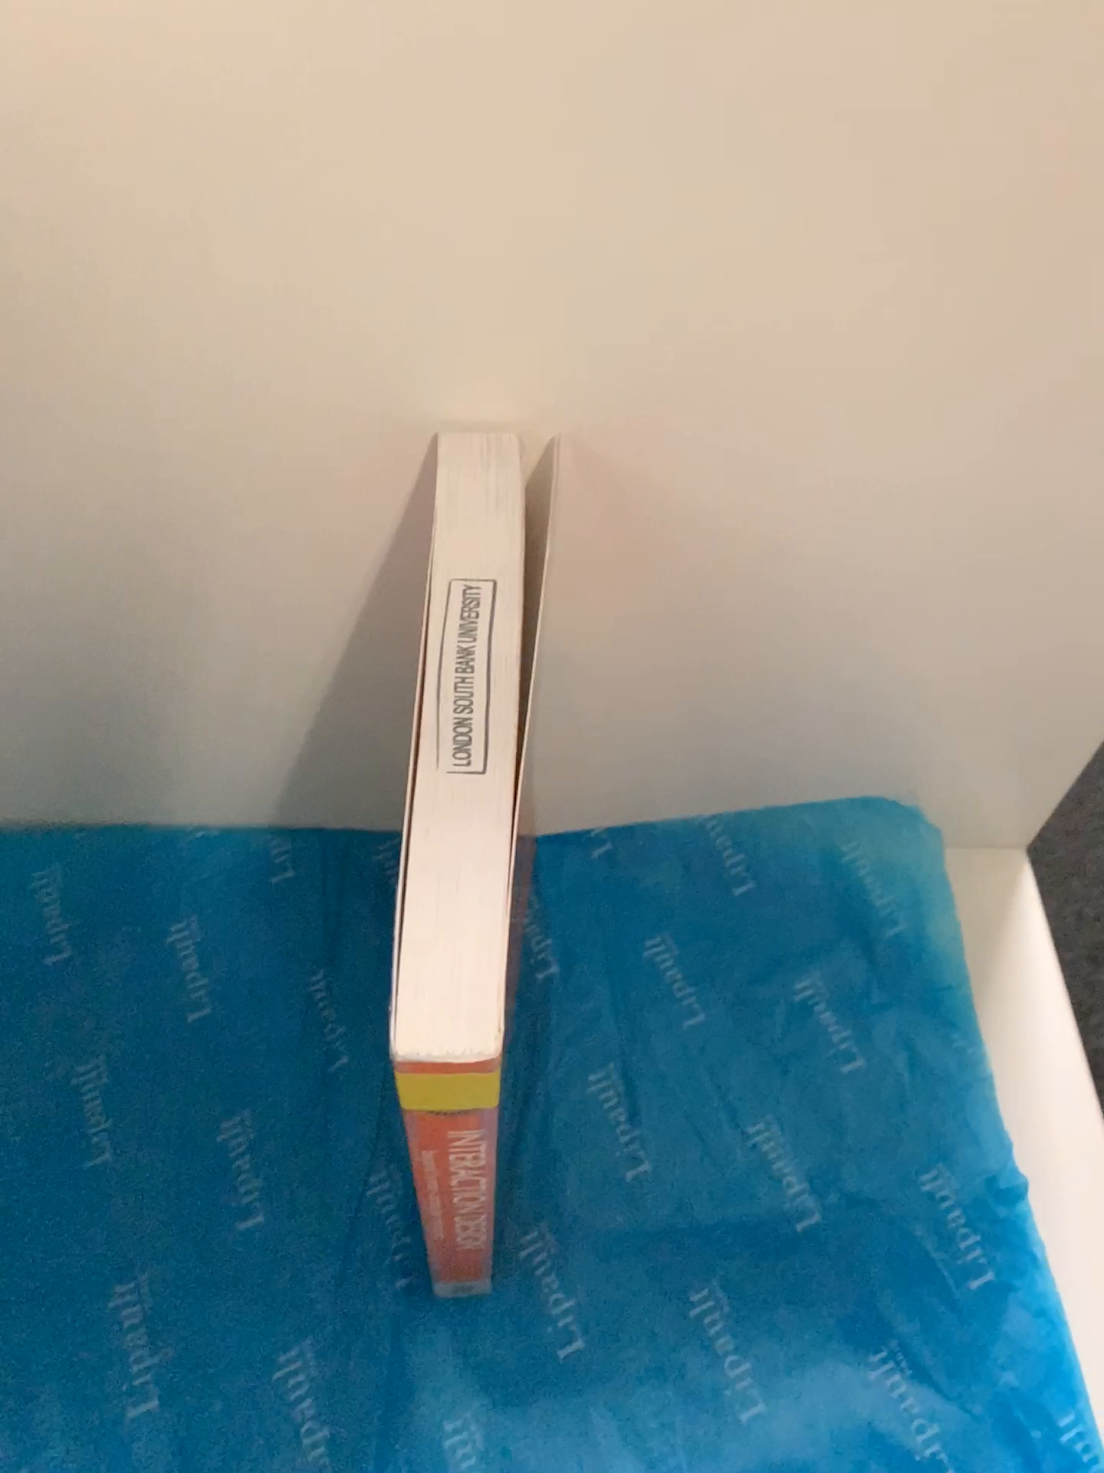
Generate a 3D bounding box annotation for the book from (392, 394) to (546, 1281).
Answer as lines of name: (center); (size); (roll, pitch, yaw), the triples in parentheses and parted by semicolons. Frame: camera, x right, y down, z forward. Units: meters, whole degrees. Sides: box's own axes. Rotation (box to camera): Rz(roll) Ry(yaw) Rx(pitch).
book: (-0.024, 0.050, 0.381); (0.030, 0.248, 0.196); (1, 54, -3)
